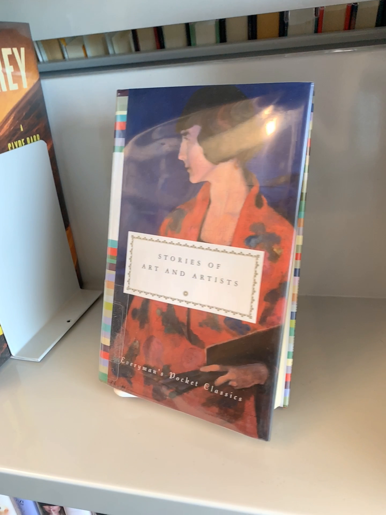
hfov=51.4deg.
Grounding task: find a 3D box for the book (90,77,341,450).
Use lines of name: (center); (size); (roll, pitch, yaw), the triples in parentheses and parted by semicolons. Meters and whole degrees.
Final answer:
book: (0.006, -0.003, 0.244); (0.129, 0.187, 0.040); (10, 10, 27)
